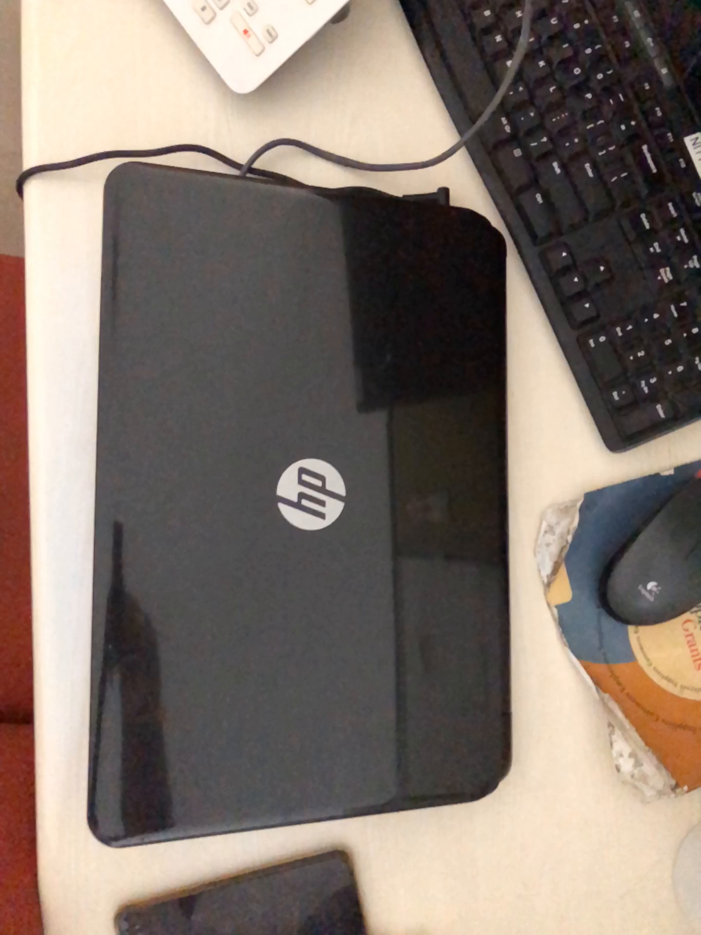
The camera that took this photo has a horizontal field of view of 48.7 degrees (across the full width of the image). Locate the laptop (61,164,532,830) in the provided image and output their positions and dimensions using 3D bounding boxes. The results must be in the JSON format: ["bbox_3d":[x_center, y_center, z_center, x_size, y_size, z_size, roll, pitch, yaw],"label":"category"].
[{"bbox_3d":[-0.027,0.014,0.452,0.245,0.072,0.350,1,86,-1],"label":"laptop"}]
